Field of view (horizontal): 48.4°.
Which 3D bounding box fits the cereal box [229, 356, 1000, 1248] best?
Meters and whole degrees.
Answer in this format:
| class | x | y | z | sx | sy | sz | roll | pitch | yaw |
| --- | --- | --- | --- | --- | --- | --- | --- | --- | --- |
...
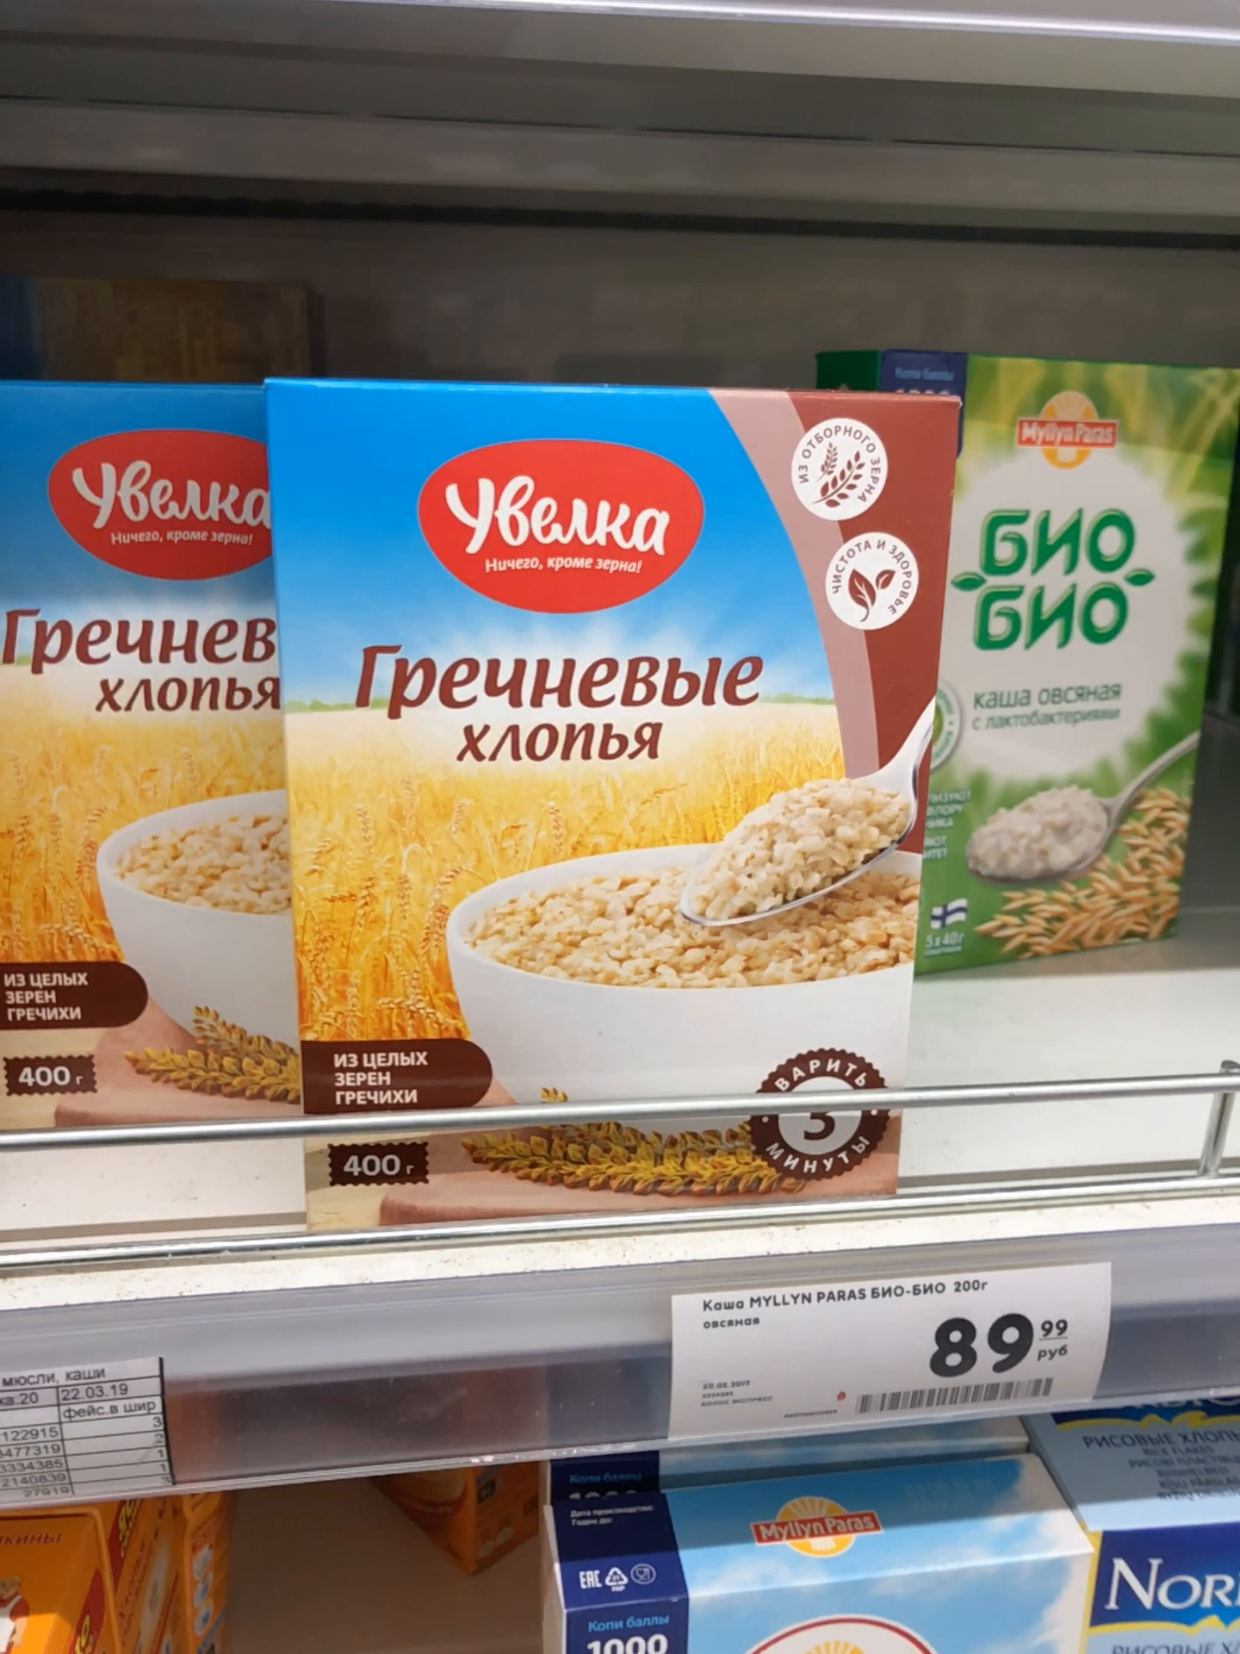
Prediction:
| class | x | y | z | sx | sy | sz | roll | pitch | yaw |
| --- | --- | --- | --- | --- | --- | --- | --- | --- | --- |
| cereal box | -0.003 | -0.007 | 0.321 | 0.150 | 0.189 | 0.060 | -1 | 16 | -7 |
